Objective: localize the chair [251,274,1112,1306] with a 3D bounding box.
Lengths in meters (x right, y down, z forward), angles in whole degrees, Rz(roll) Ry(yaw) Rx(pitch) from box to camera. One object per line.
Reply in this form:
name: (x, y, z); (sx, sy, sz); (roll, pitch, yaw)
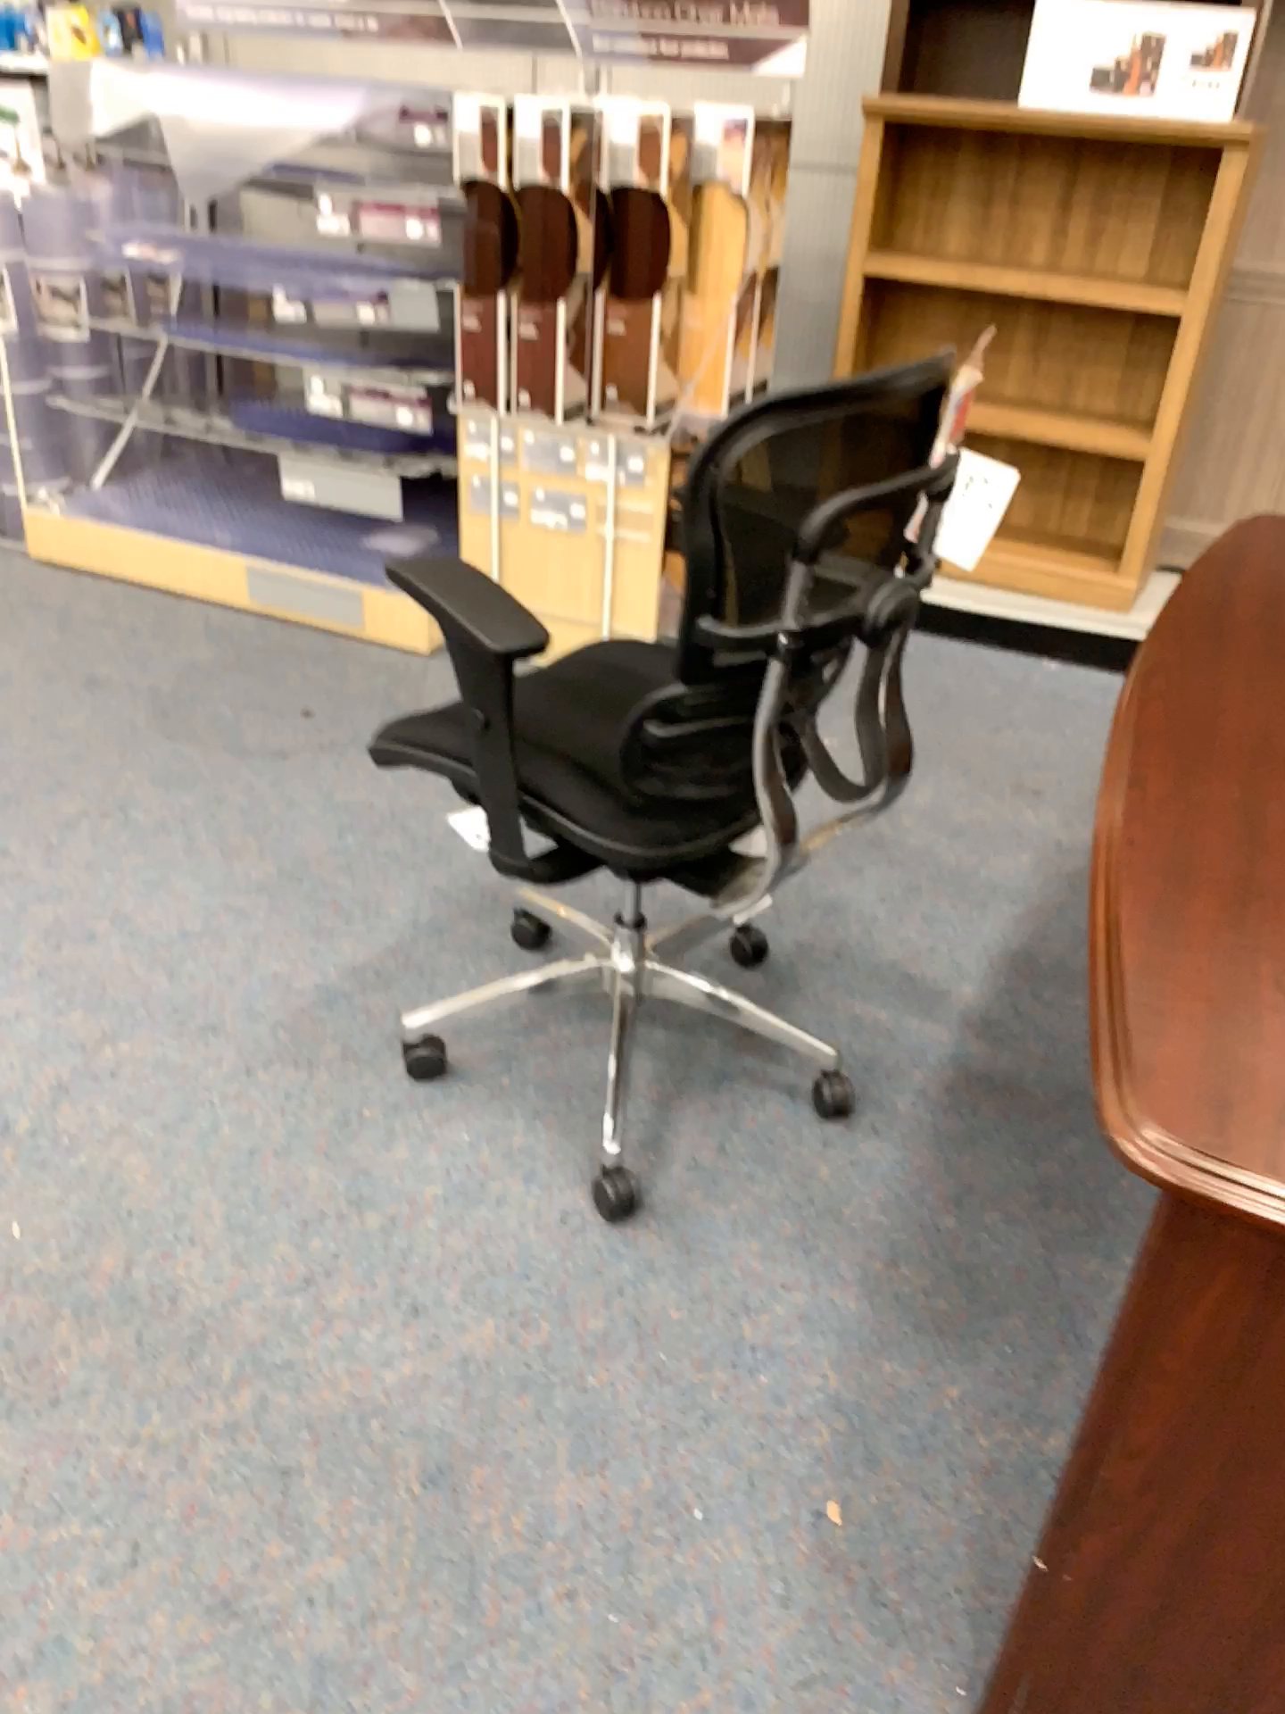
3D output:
chair: (0.047, -0.151, 1.710); (0.685, 0.983, 0.700); (21, 35, 27)
